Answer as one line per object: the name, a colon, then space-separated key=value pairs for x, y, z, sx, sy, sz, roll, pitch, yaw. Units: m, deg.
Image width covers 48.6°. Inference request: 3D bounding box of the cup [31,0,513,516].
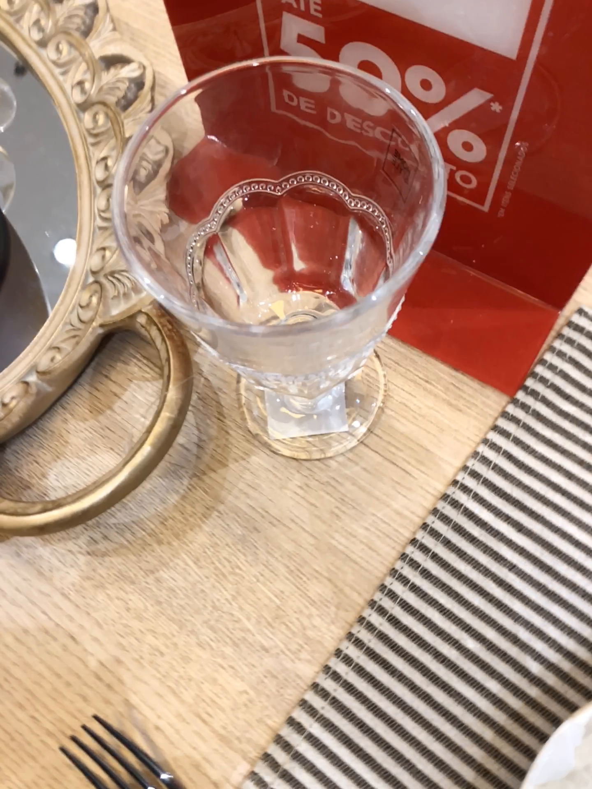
cup: x=0.000 y=-0.028 z=0.218 sx=0.080 sy=0.140 sz=0.080 roll=-2 pitch=70 yaw=5
